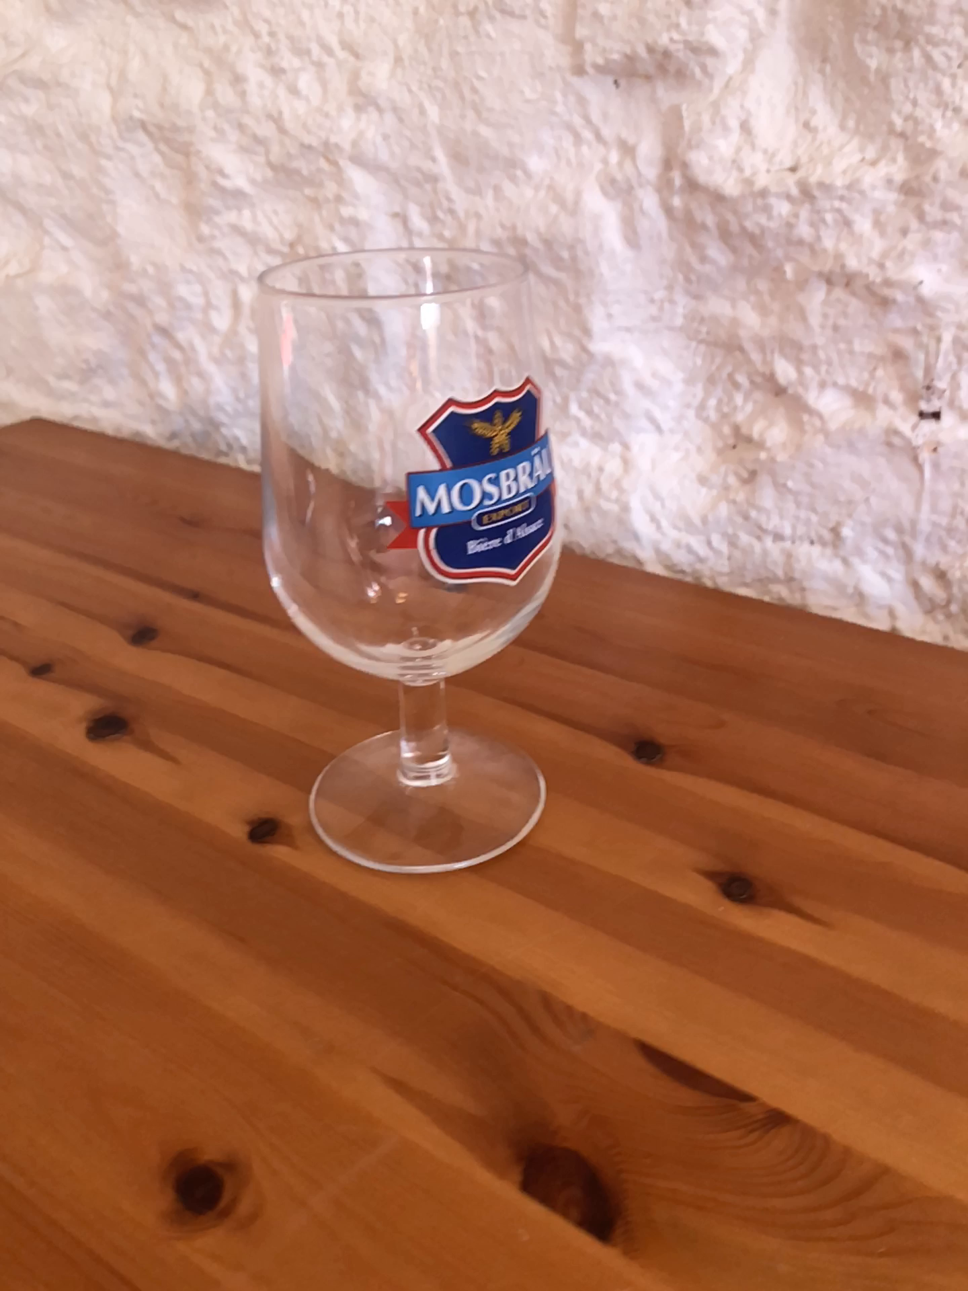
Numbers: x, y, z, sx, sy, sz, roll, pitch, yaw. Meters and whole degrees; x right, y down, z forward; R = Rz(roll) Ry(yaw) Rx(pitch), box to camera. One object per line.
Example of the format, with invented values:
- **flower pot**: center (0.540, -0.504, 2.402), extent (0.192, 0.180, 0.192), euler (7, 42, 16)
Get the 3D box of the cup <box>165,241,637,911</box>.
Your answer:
- **cup**: center (-0.019, -0.024, 0.280), extent (0.079, 0.142, 0.077), euler (-1, 26, 0)
